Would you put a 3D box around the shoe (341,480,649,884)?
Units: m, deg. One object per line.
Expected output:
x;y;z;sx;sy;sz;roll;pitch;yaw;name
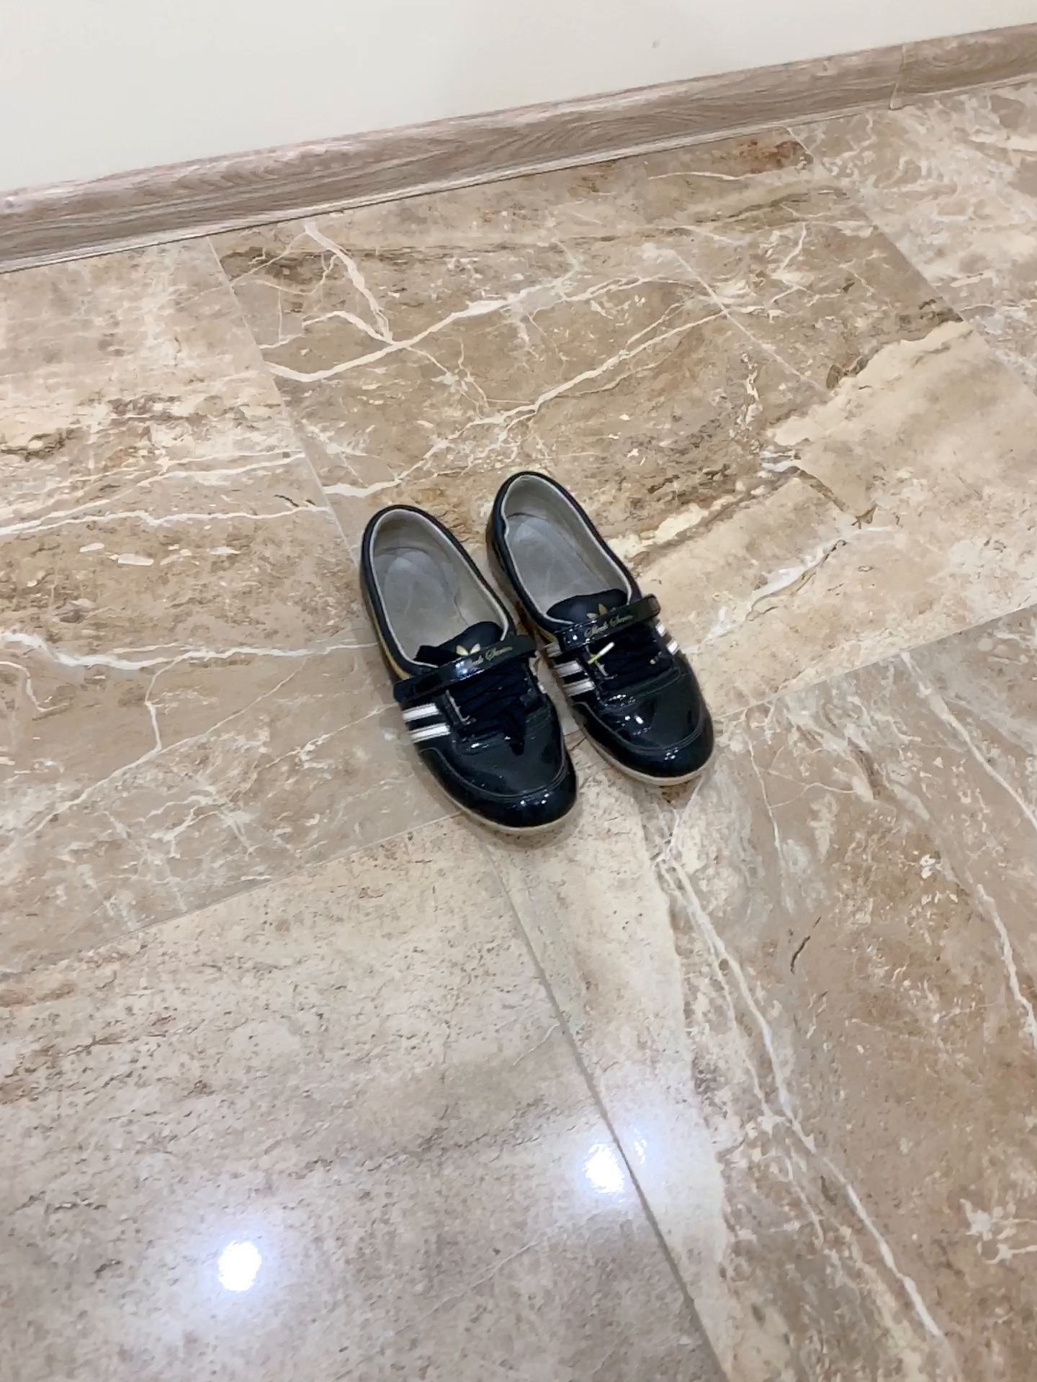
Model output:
-0.023;-0.014;0.661;0.095;0.060;0.241;-19;62;-17;shoe

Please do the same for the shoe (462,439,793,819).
0.061;-0.048;0.689;0.095;0.060;0.241;-22;63;-19;shoe
